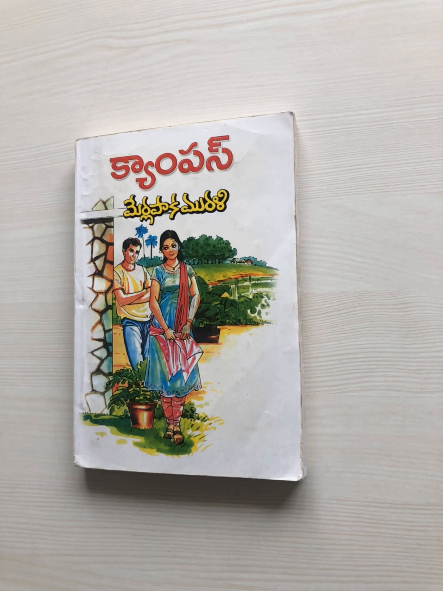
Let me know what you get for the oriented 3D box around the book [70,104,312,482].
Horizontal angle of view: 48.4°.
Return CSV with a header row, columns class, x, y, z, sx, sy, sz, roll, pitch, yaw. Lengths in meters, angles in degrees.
class,x,y,z,sx,sy,sz,roll,pitch,yaw
book,-0.017,-0.001,0.235,0.113,0.016,0.163,-2,86,14
